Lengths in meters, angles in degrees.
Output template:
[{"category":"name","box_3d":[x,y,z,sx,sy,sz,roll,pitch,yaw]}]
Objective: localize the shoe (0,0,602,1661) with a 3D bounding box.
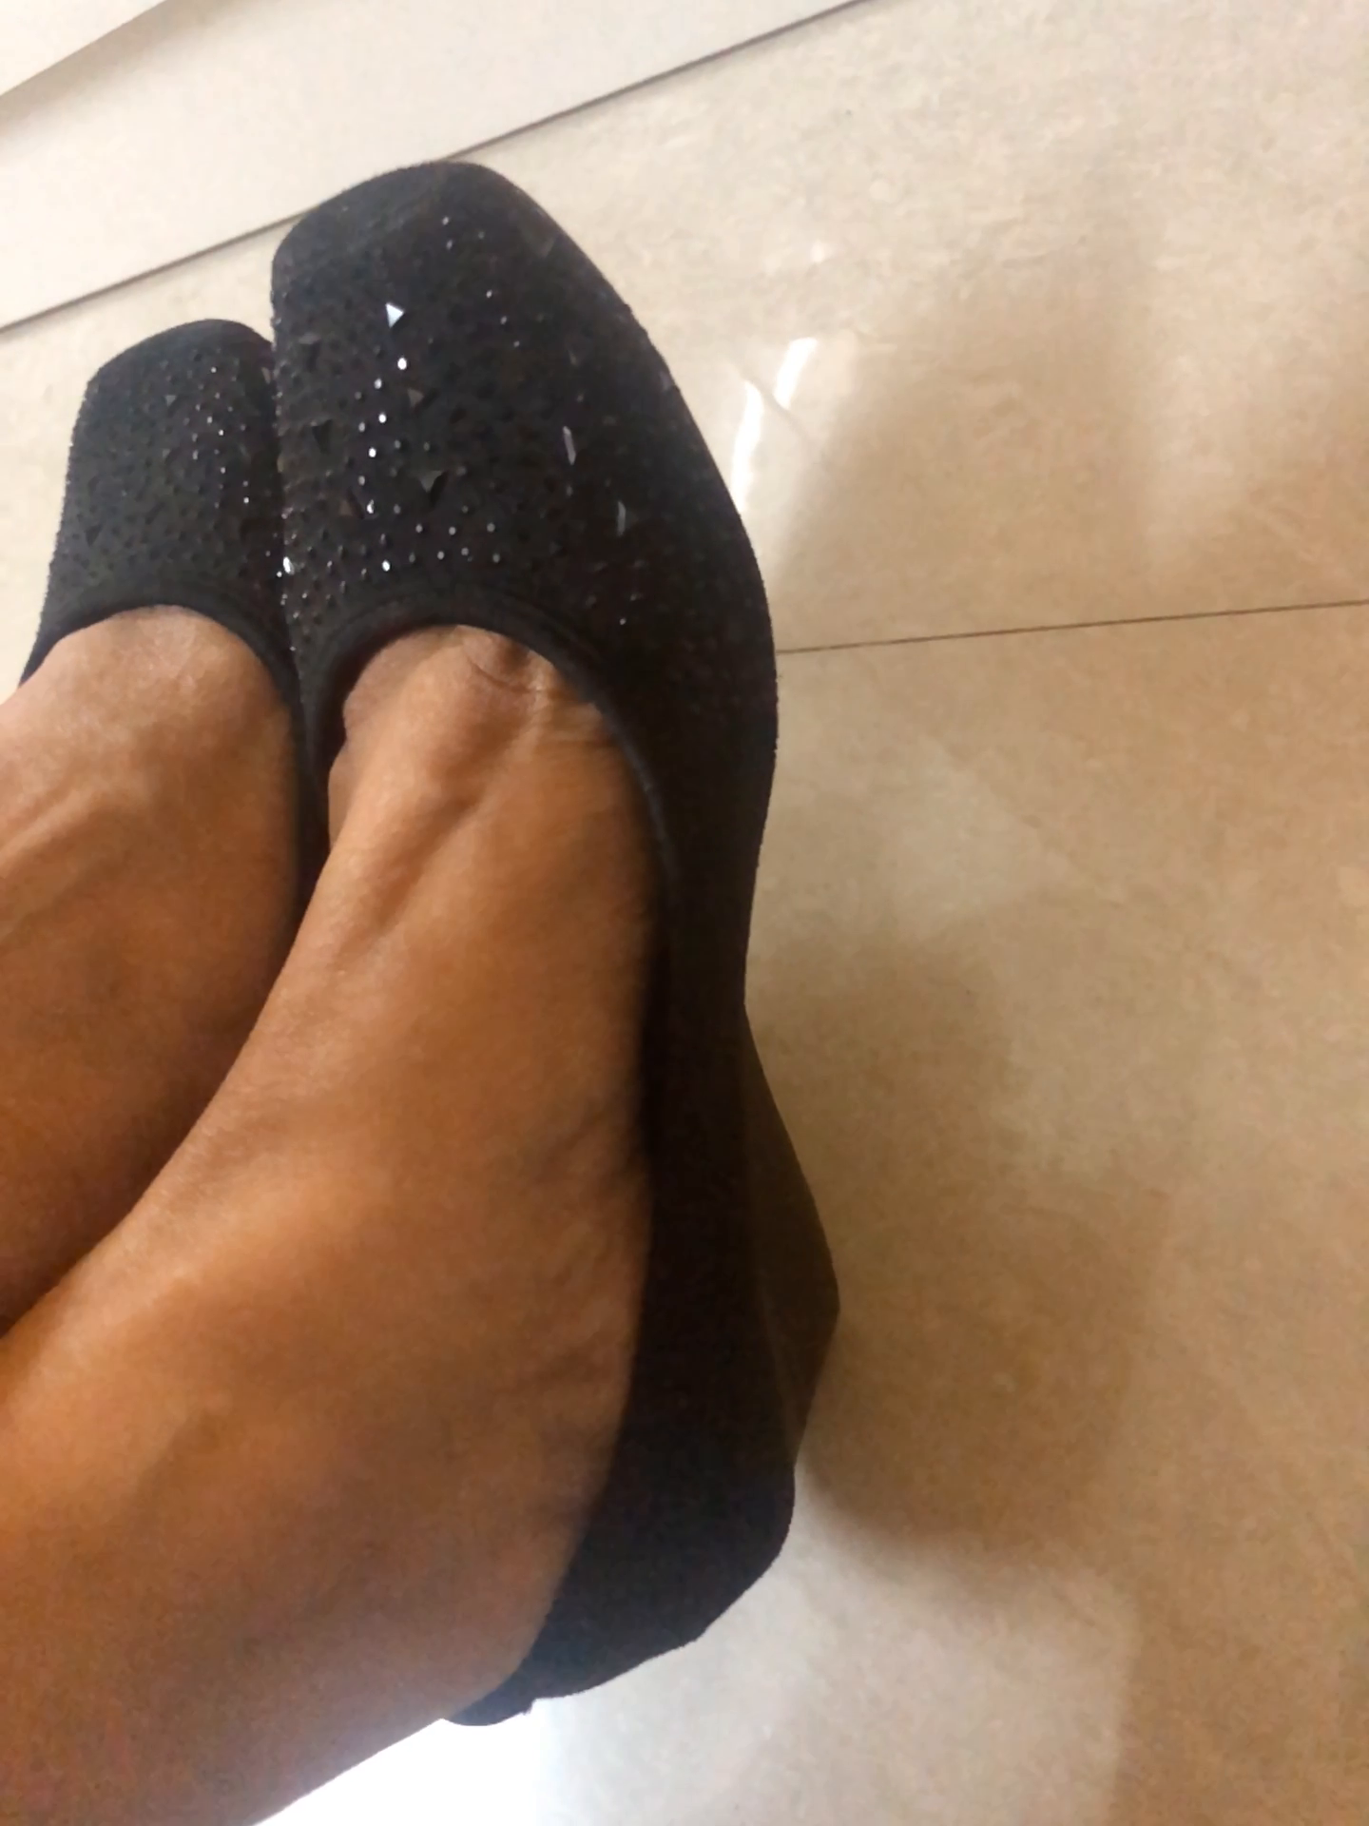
[{"category":"shoe","box_3d":[-0.095,-0.011,0.296,0.100,0.070,0.270,-8,90,27]}]

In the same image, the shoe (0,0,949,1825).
[{"category":"shoe","box_3d":[-0.030,0.004,0.242,0.100,0.070,0.240,2,104,38]}]
